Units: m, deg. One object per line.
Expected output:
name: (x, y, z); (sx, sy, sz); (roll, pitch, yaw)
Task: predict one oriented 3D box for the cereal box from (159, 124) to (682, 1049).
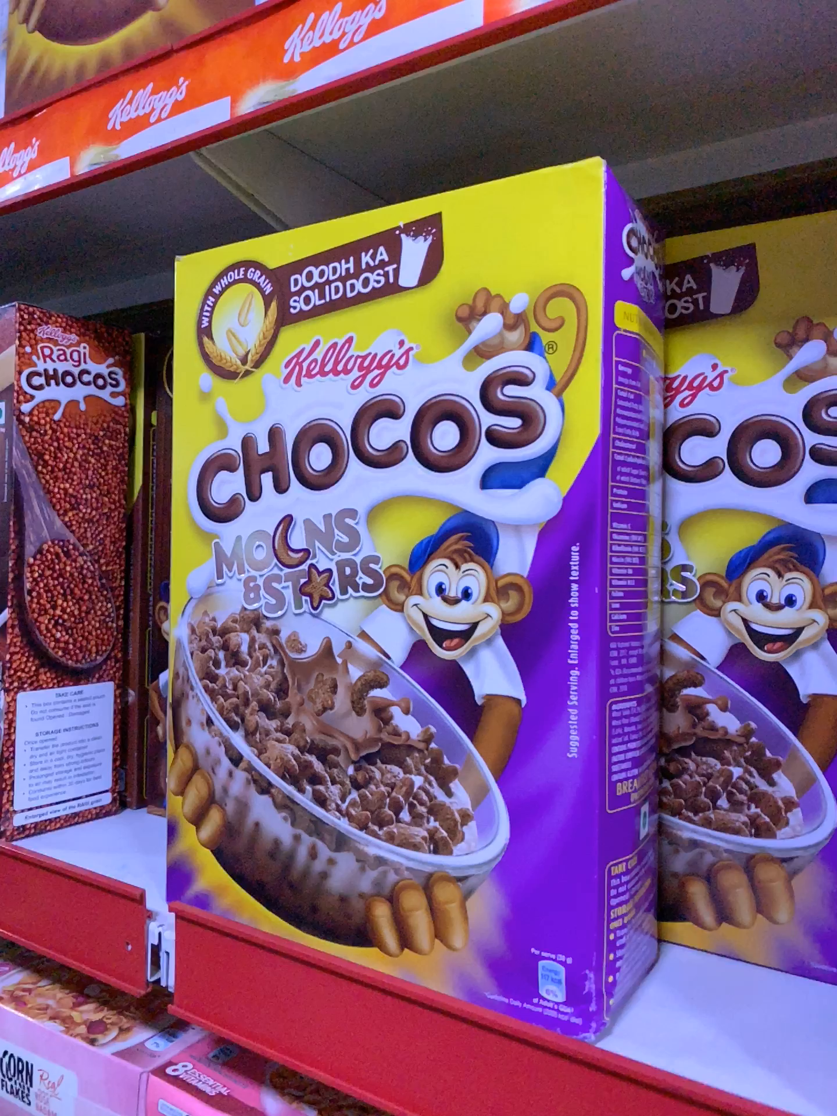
cereal box: (-0.006, 0.006, 0.309); (0.180, 0.250, 0.060); (0, 0, 32)
